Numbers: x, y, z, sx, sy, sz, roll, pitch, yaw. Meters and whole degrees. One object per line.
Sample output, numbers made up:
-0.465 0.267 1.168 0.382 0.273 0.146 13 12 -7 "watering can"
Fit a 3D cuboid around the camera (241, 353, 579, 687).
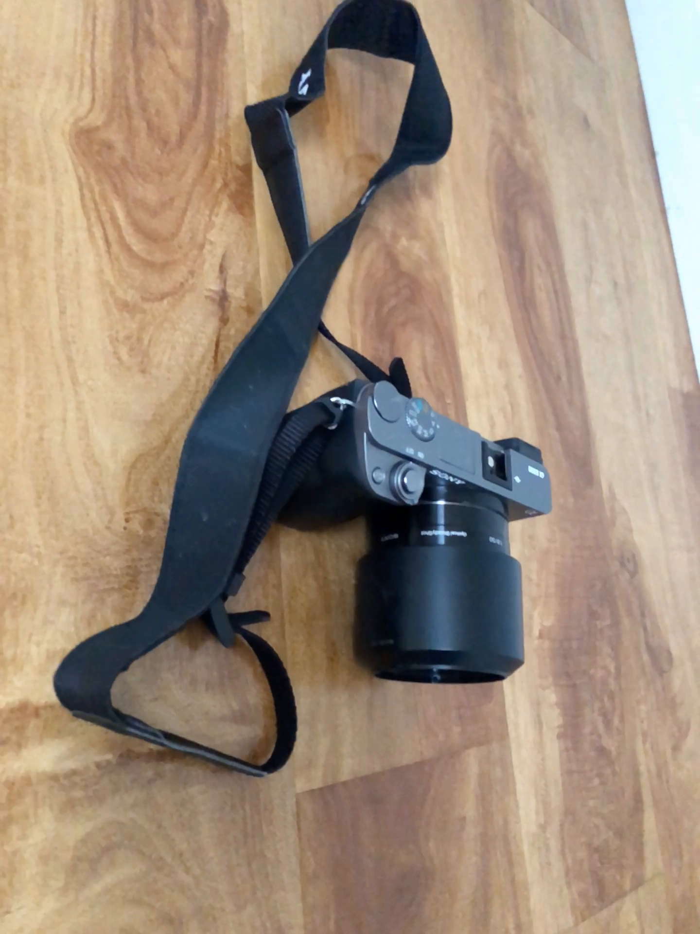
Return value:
0.030 0.033 0.338 0.131 0.070 0.110 19 63 -41 "camera"
